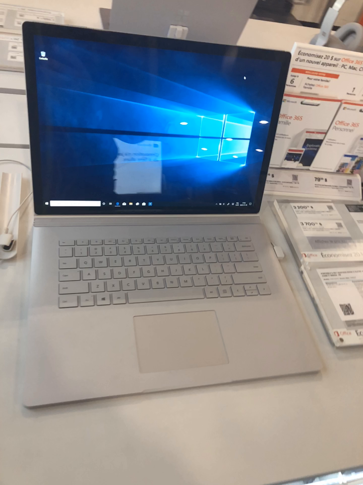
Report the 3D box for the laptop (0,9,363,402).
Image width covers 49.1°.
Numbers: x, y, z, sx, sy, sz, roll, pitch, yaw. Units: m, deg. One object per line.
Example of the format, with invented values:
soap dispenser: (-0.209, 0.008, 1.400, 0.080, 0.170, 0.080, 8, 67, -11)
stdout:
laptop: (-0.006, -0.056, 0.473, 0.338, 0.207, 0.366, -1, 52, -16)
